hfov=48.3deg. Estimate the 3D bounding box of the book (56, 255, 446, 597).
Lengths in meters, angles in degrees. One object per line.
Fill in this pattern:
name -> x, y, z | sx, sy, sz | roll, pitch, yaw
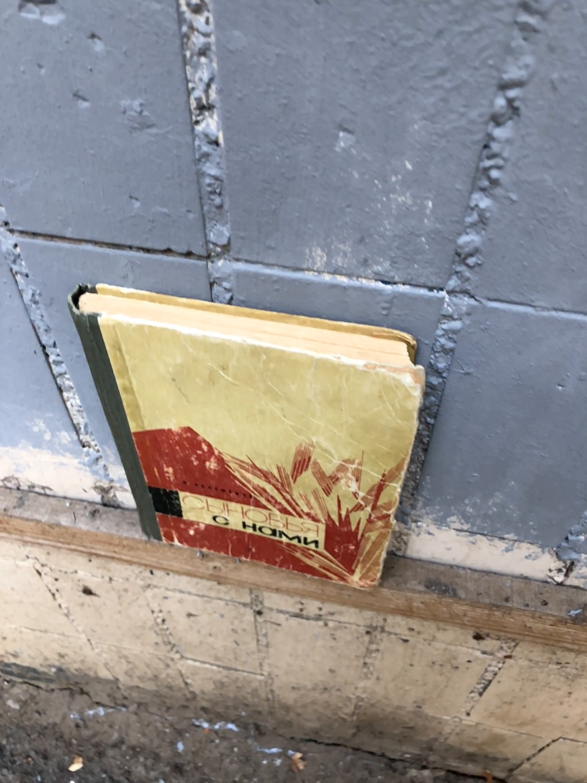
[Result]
book -> -0.017, 0.025, 0.299 | 0.140, 0.162, 0.032 | 10, 46, 9
